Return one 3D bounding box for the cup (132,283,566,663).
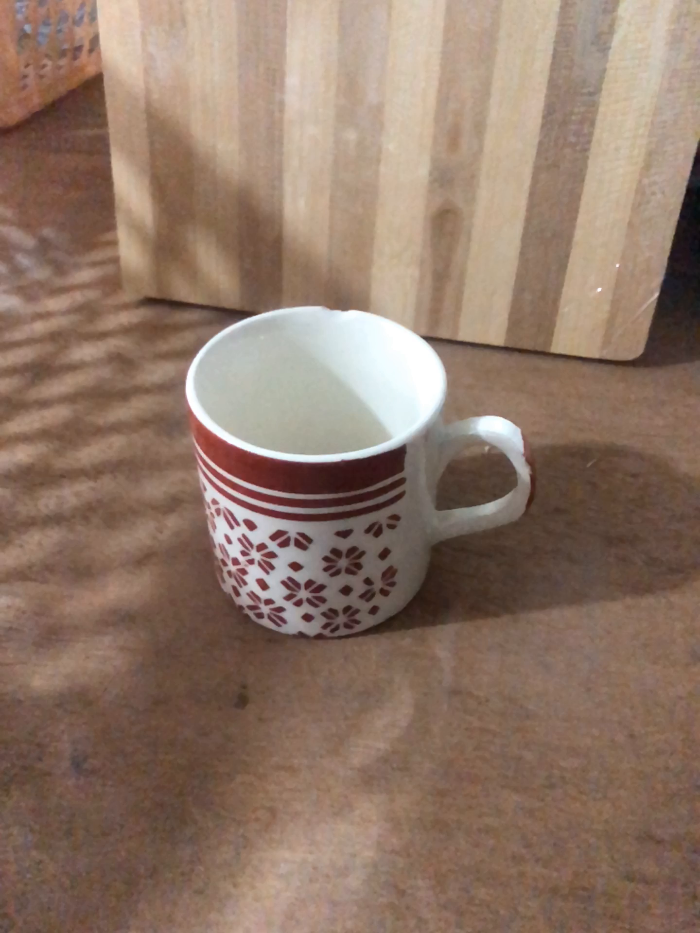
[{"bbox_3d":[0.002,0.001,0.212,0.090,0.070,0.070,2,43,4],"label":"cup"}]
